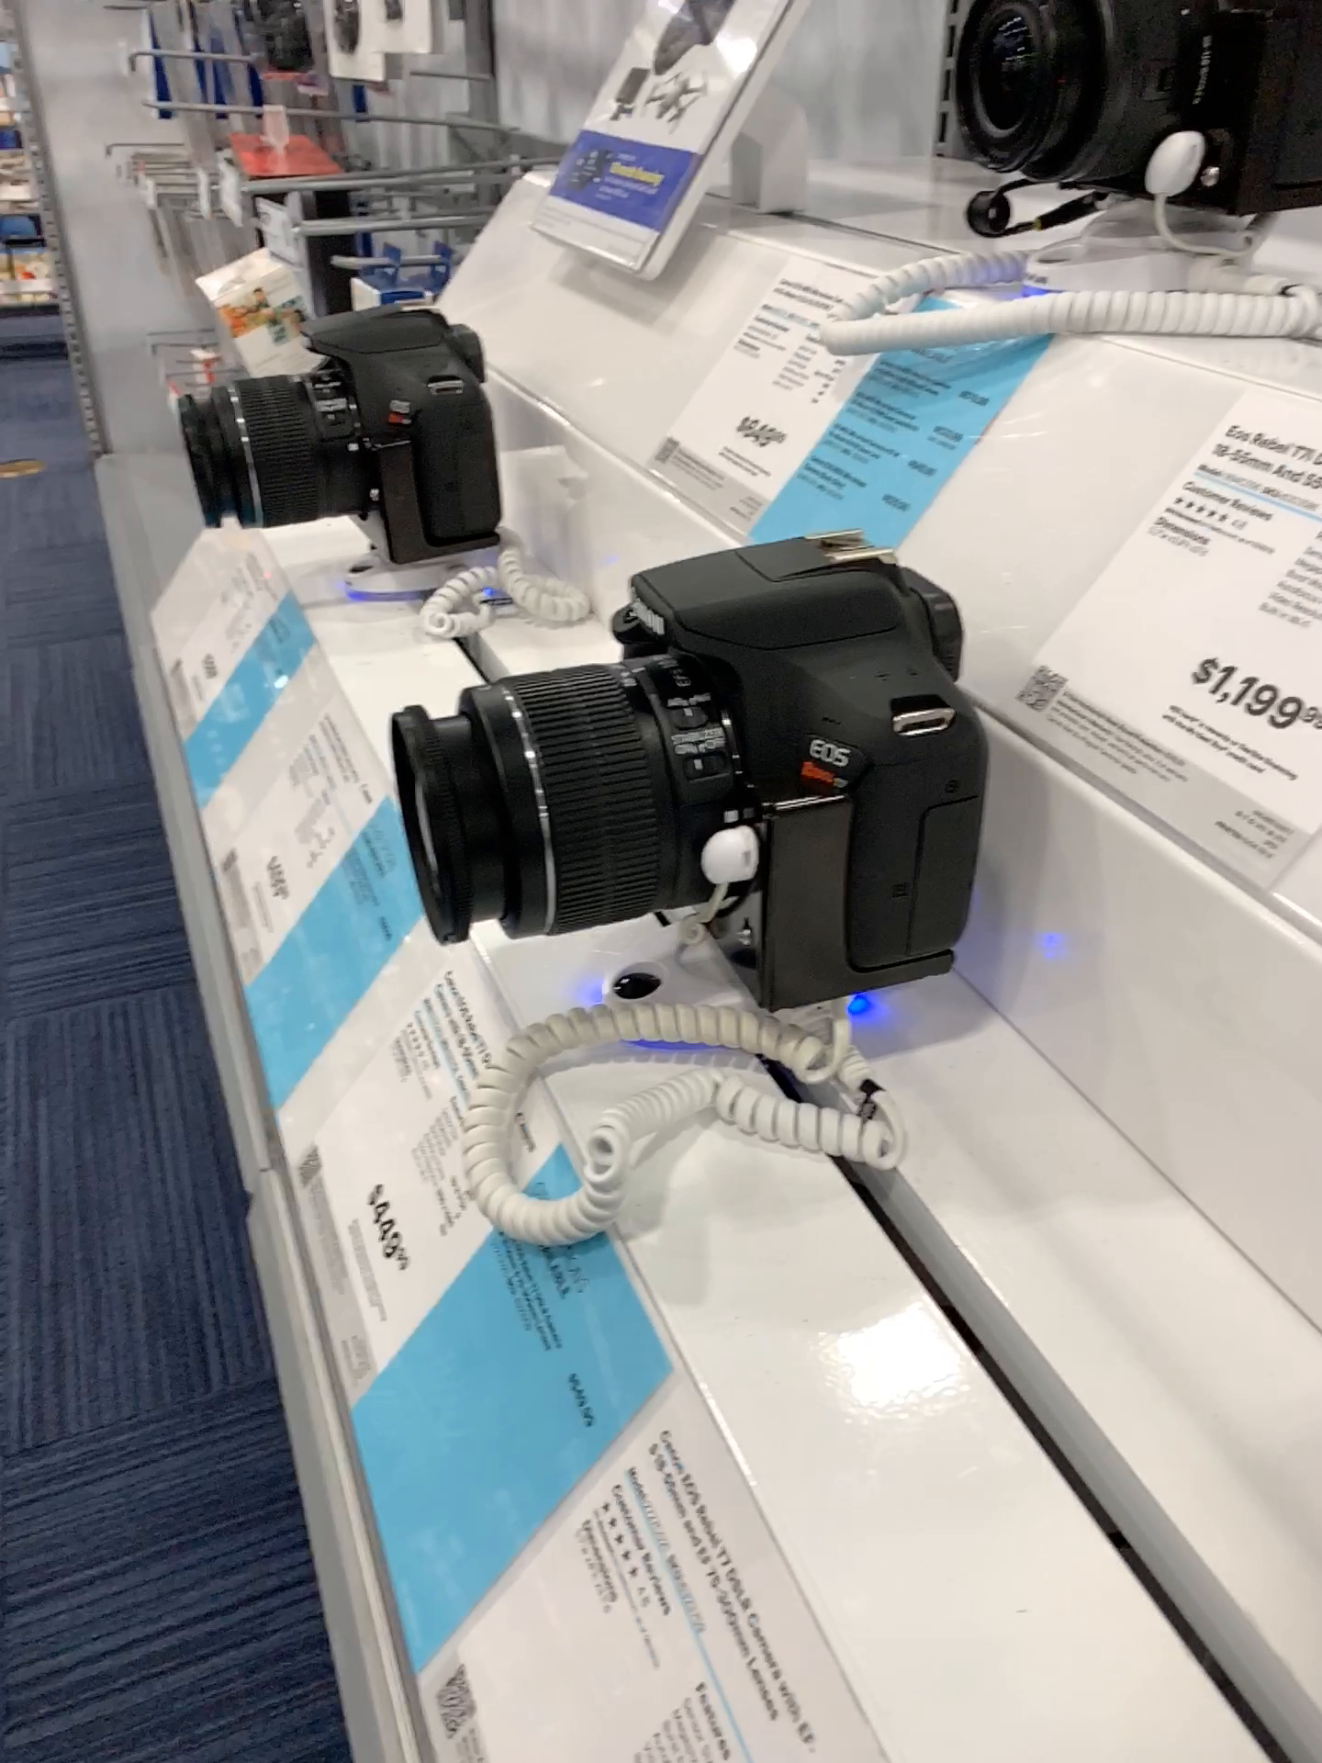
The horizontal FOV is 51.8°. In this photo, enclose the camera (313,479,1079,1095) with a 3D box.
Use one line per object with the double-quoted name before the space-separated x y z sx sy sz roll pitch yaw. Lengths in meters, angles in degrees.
"camera" 0.002 -0.038 0.365 0.150 0.090 0.131 -14 35 -21
